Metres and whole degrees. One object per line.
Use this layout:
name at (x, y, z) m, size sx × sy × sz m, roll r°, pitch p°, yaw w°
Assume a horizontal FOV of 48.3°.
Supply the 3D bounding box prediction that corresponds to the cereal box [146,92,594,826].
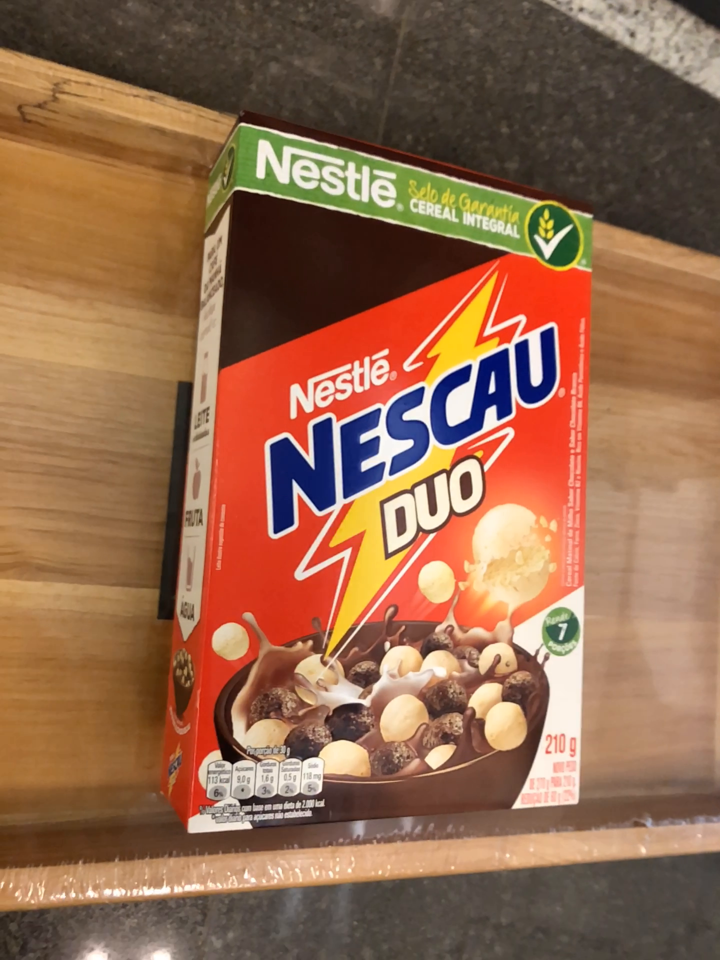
cereal box at (0.010, -0.004, 0.324) m, size 0.161 × 0.050 × 0.250 m, roll 6°, pitch 84°, yaw -22°
